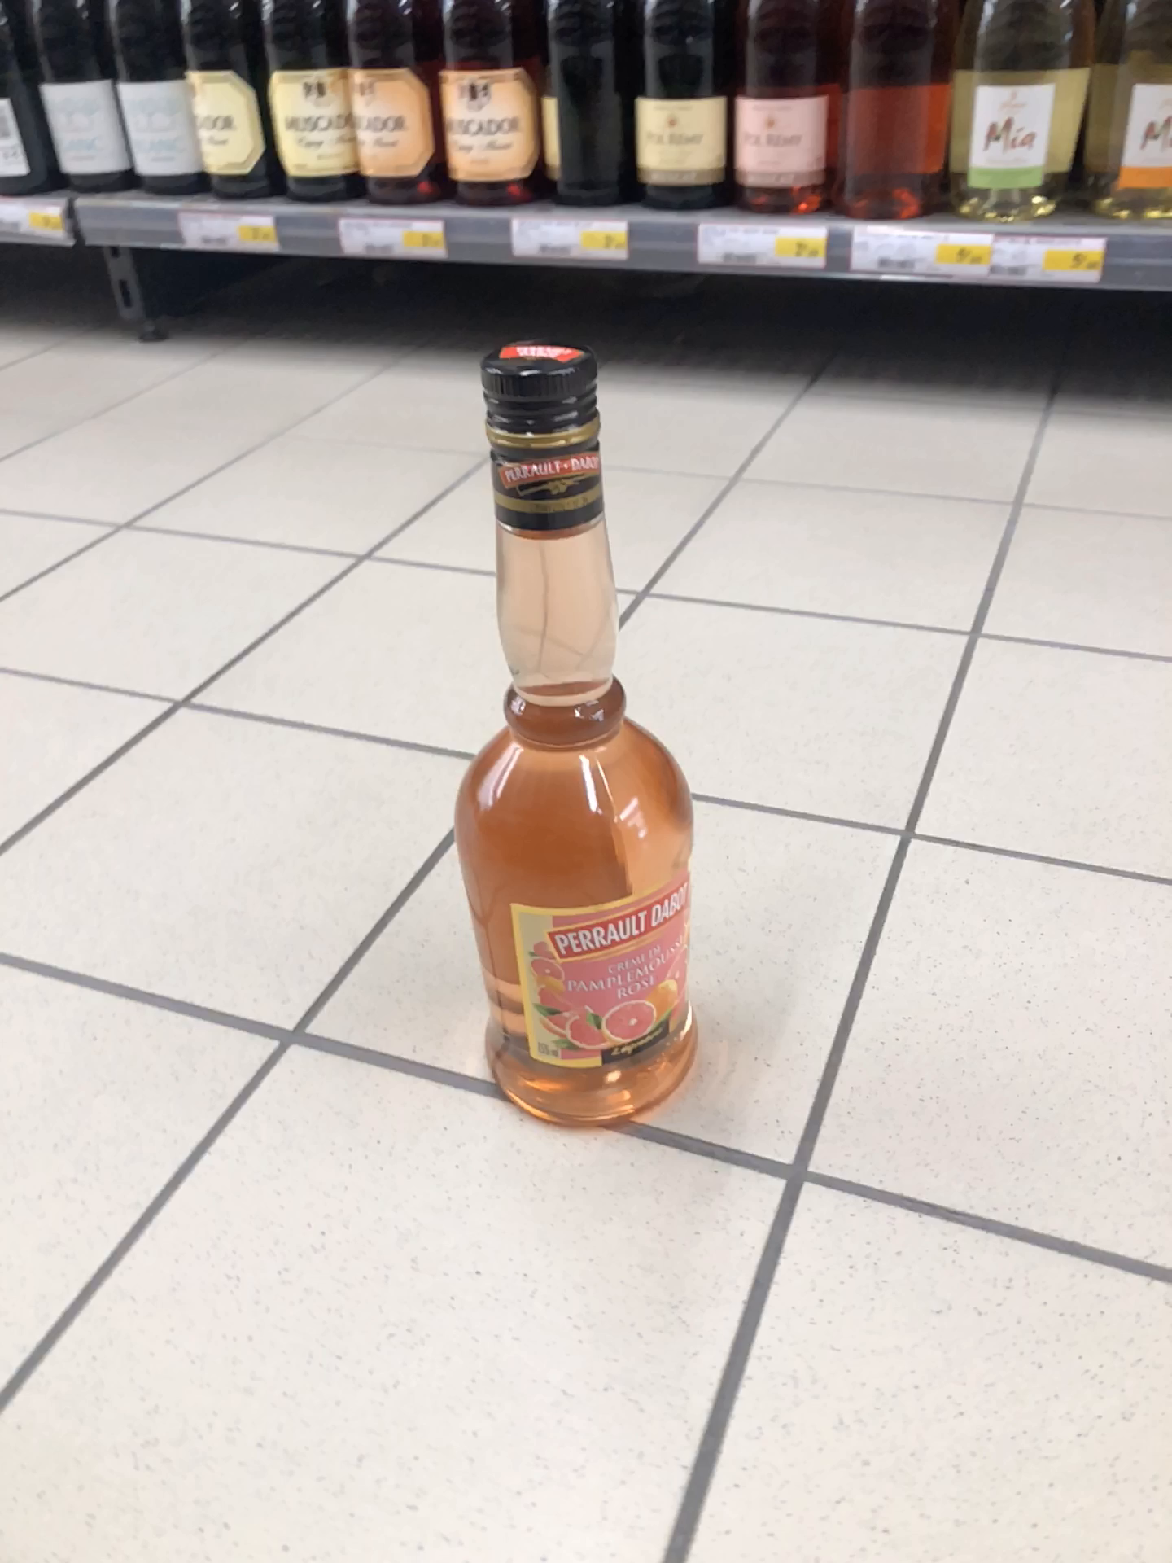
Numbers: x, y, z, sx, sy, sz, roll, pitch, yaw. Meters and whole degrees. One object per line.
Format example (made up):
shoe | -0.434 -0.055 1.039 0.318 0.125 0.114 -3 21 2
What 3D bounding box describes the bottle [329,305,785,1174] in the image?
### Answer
bottle | -0.003 -0.007 0.395 0.090 0.239 0.080 -19 36 -23
